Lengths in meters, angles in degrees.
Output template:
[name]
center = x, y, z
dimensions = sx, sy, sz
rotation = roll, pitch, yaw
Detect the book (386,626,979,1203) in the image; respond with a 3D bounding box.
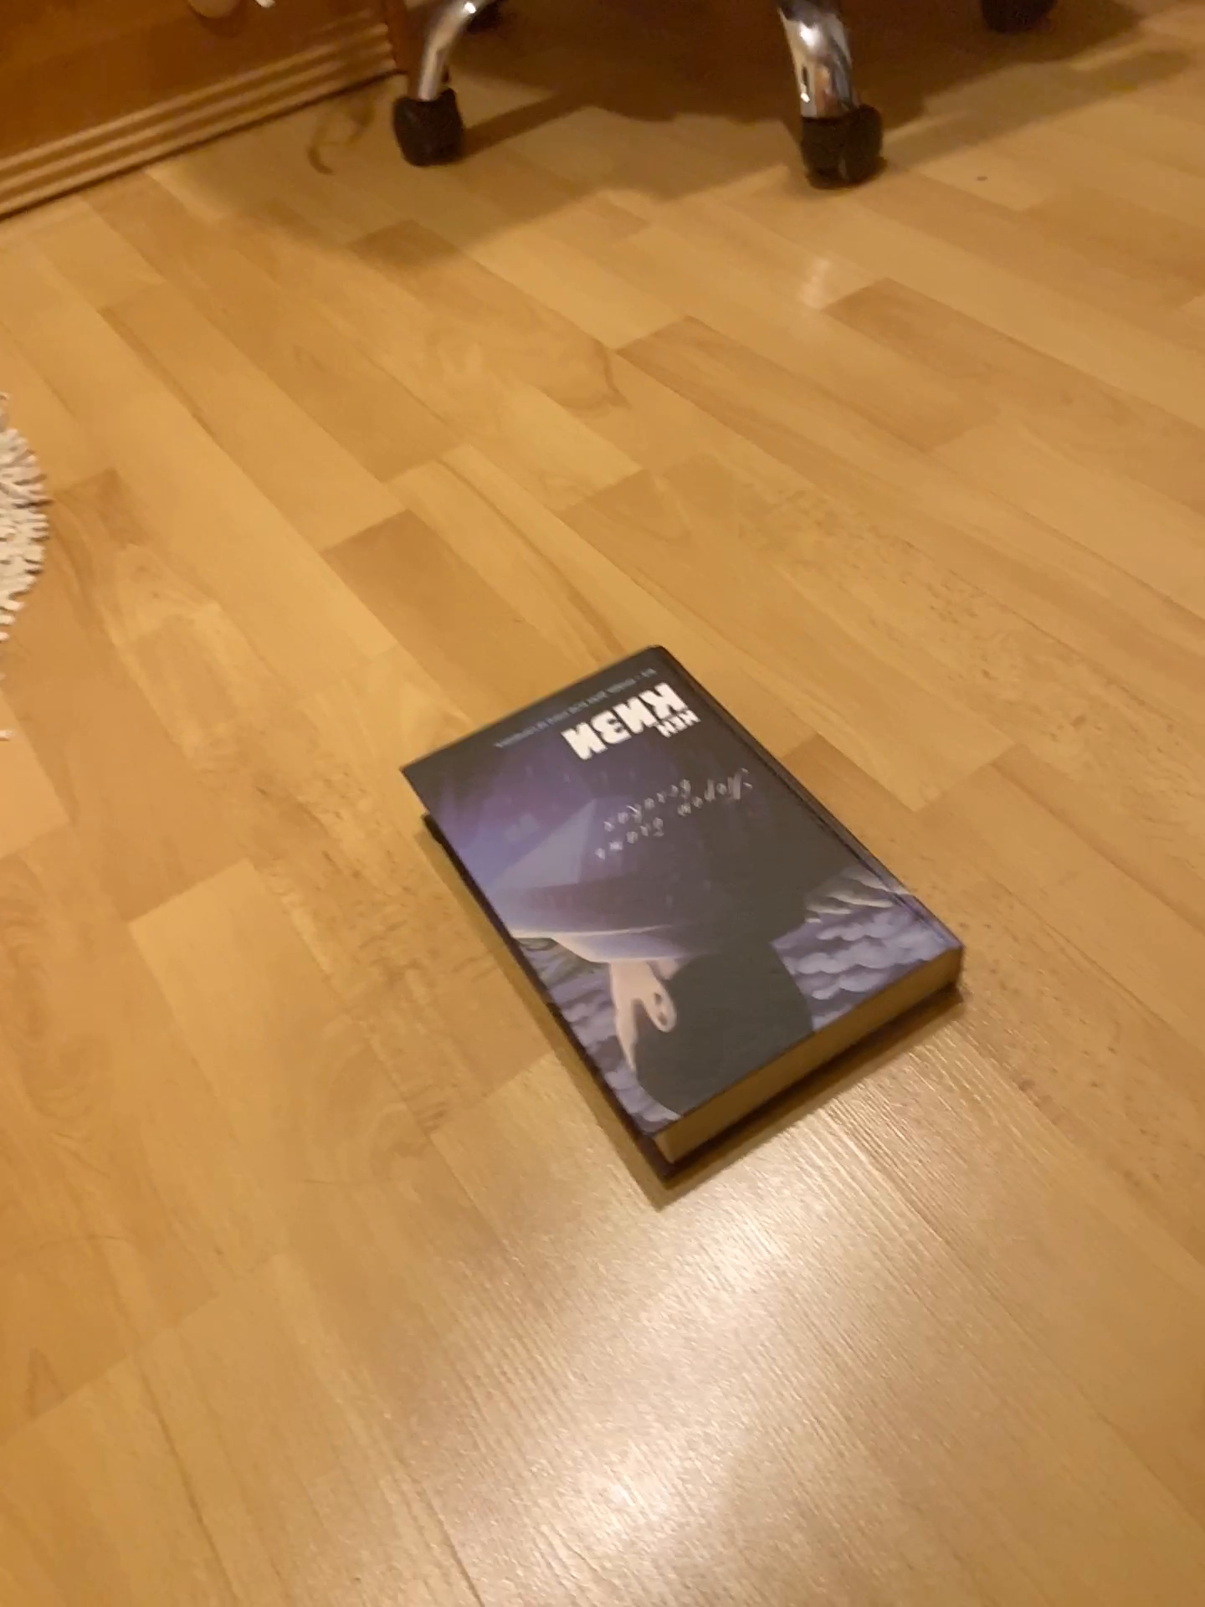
[book]
center = 0.025, 0.032, 0.536
dimensions = 0.150, 0.050, 0.225
rotation = -27, 51, -16
